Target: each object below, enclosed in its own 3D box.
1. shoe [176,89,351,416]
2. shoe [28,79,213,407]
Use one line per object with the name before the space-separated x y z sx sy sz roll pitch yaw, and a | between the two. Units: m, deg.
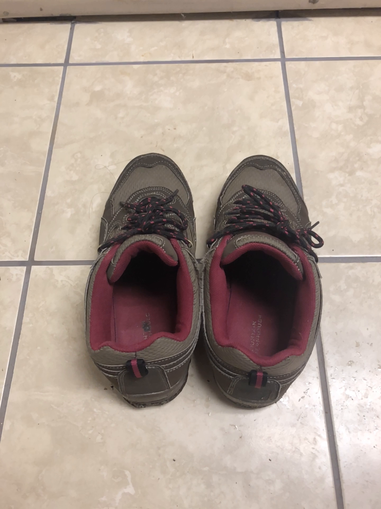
shoe | 0.058 -0.004 0.375 0.110 0.120 0.261 3 65 4
shoe | -0.042 -0.011 0.381 0.120 0.120 0.271 0 65 2
